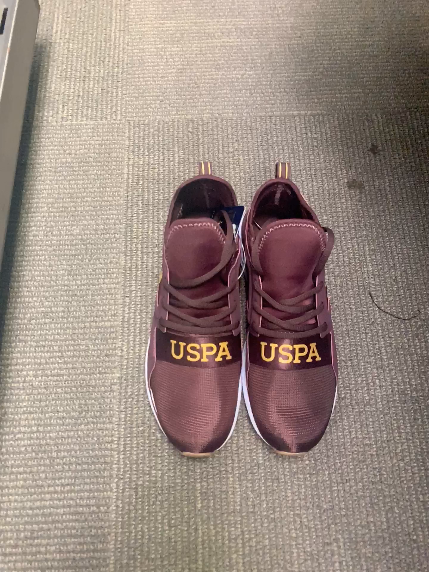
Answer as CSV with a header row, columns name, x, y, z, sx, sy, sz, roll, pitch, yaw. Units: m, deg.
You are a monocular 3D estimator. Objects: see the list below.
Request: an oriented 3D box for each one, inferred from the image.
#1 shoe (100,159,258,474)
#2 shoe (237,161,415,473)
name,x,y,z,sx,sy,sz,roll,pitch,yaw
shoe,-0.024,0.034,0.397,0.103,0.156,0.243,0,70,0
shoe,0.079,0.034,0.396,0.103,0.149,0.241,0,70,0
